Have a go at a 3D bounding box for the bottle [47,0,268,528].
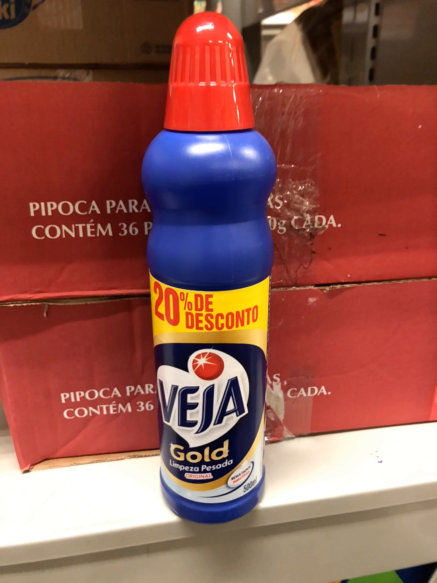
[{"bbox_3d":[-0.014,-0.005,0.245,0.070,0.248,0.070,-3,24,1],"label":"bottle"}]
